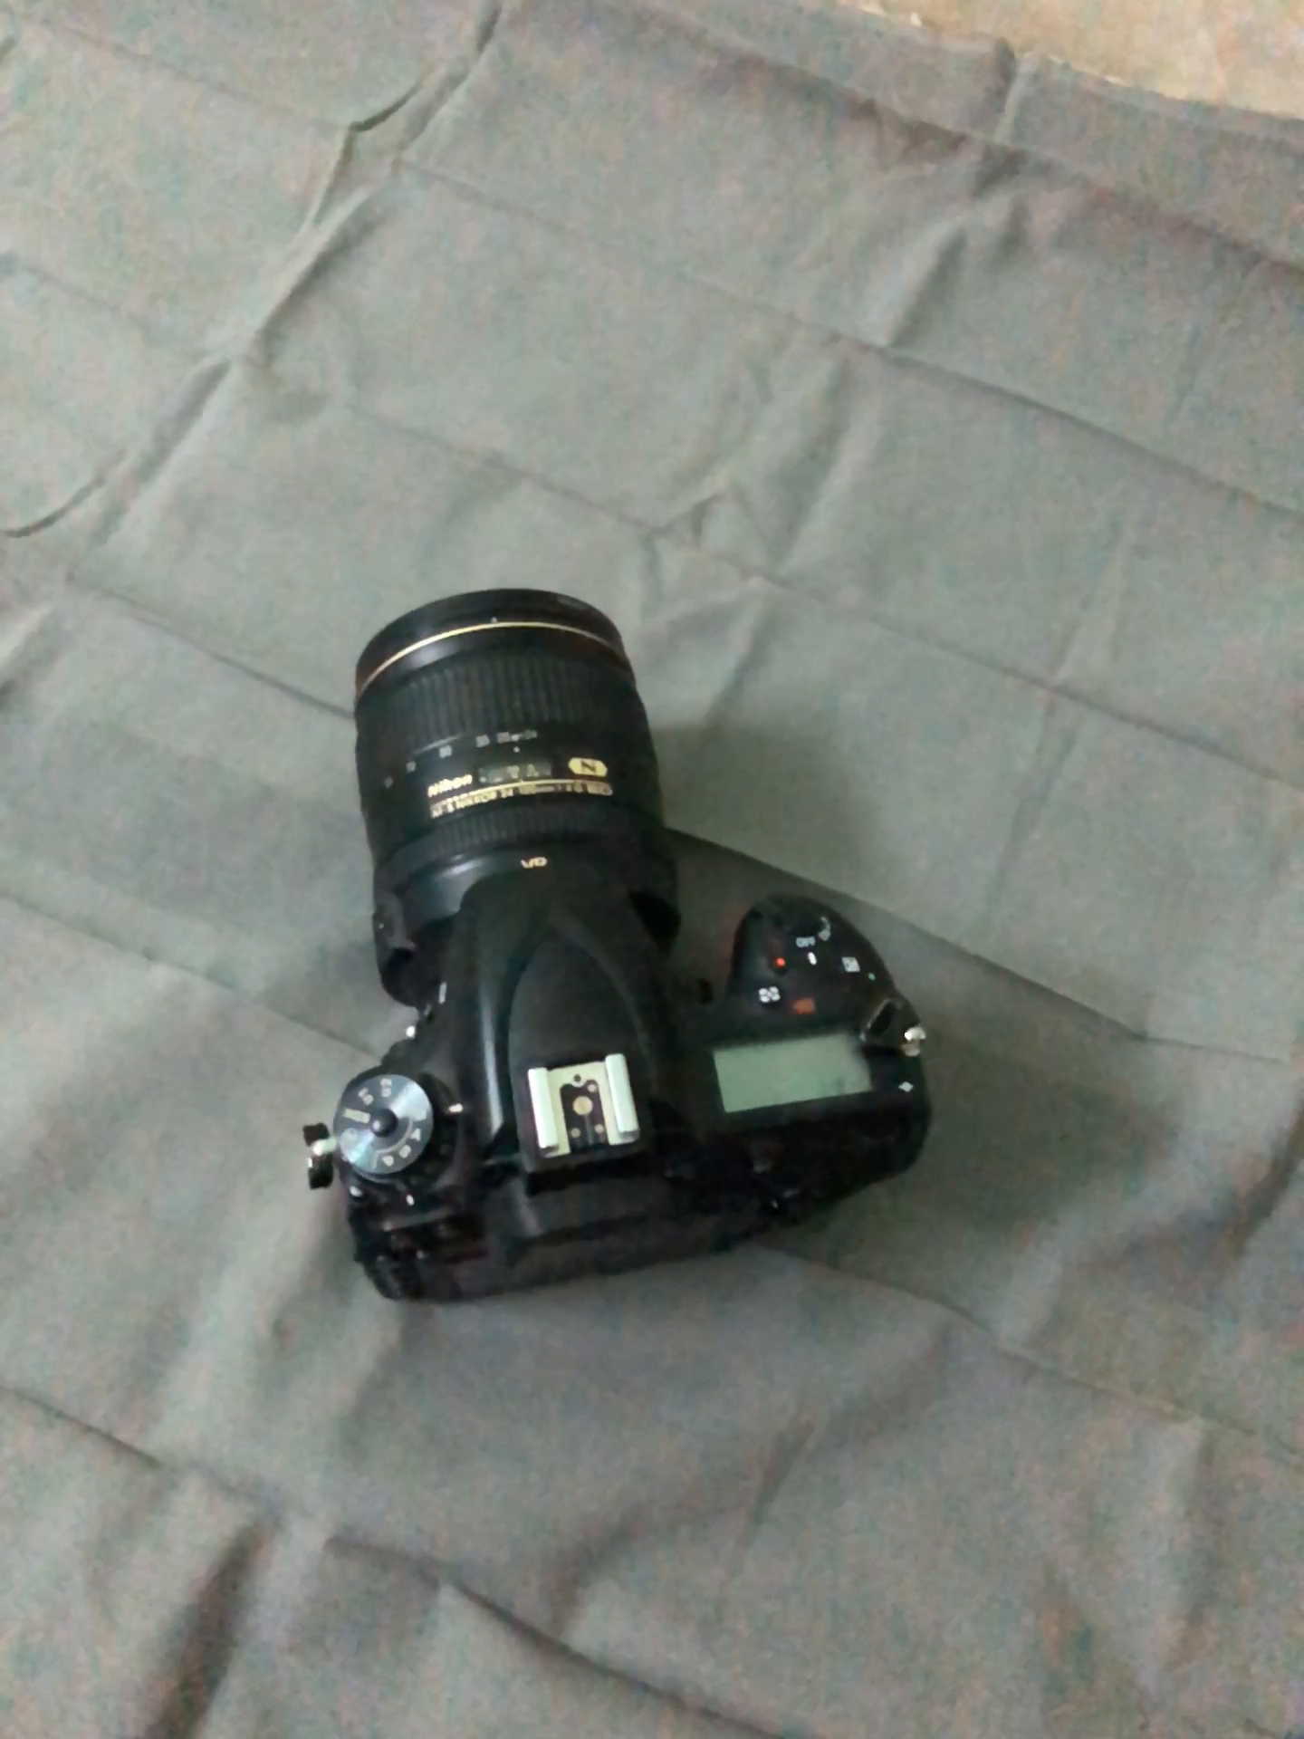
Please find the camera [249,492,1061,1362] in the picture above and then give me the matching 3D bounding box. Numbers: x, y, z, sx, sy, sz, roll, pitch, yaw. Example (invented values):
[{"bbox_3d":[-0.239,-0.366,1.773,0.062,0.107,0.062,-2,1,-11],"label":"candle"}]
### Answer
[{"bbox_3d":[-0.011,0.020,0.366,0.146,0.134,0.164,-7,66,-8],"label":"camera"}]
